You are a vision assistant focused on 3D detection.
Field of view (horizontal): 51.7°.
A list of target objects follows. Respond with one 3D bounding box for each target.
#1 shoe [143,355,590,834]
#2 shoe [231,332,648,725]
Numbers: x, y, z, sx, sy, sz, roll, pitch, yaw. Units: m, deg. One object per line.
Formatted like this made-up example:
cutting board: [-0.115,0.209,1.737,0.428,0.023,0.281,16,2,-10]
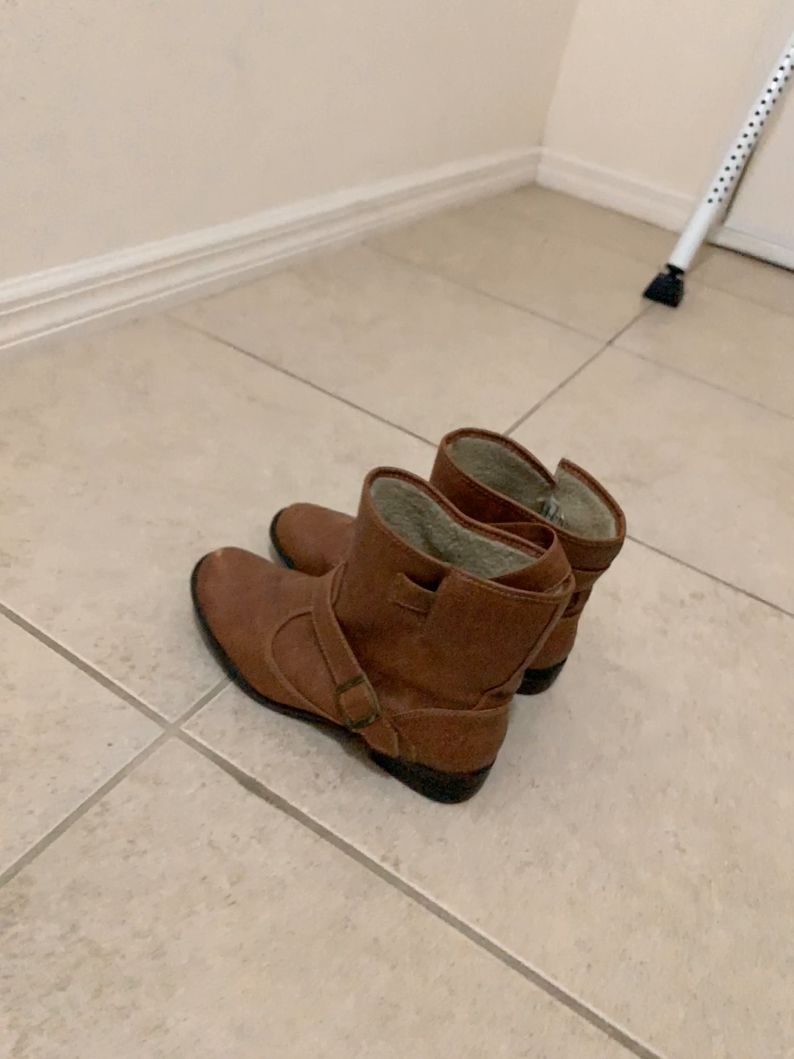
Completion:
shoe: [-0.037,0.036,0.523,0.246,0.192,0.095,28,39,19]
shoe: [0.020,-0.007,0.613,0.260,0.172,0.108,25,38,16]
